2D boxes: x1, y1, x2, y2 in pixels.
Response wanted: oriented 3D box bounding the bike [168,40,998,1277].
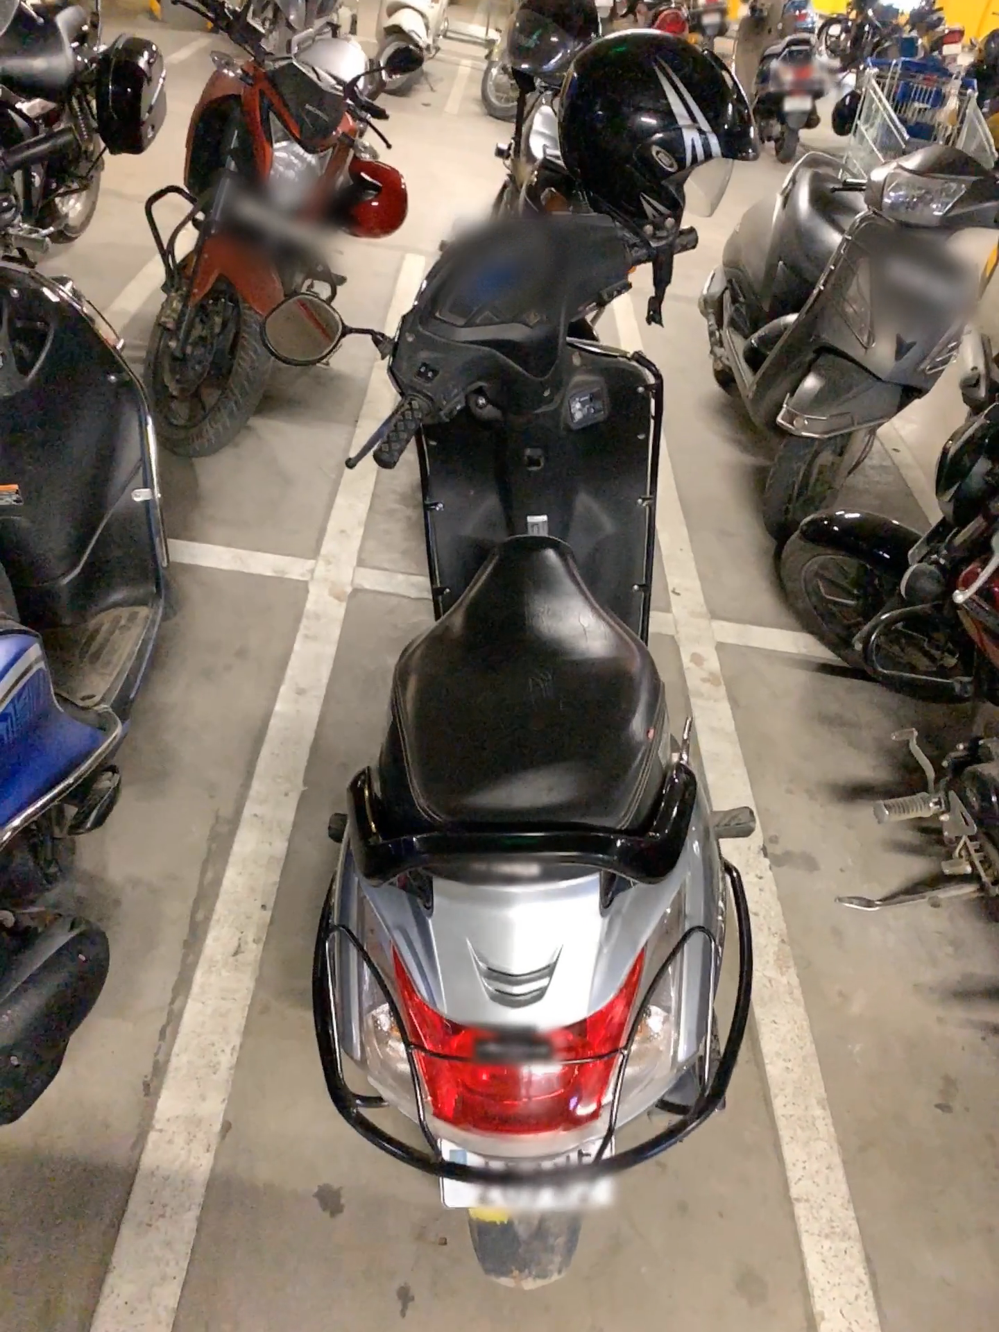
[{"bbox_3d":[-0.023,-0.123,1.625,0.630,1.089,1.541,6,41,-8],"label":"bike"}]
